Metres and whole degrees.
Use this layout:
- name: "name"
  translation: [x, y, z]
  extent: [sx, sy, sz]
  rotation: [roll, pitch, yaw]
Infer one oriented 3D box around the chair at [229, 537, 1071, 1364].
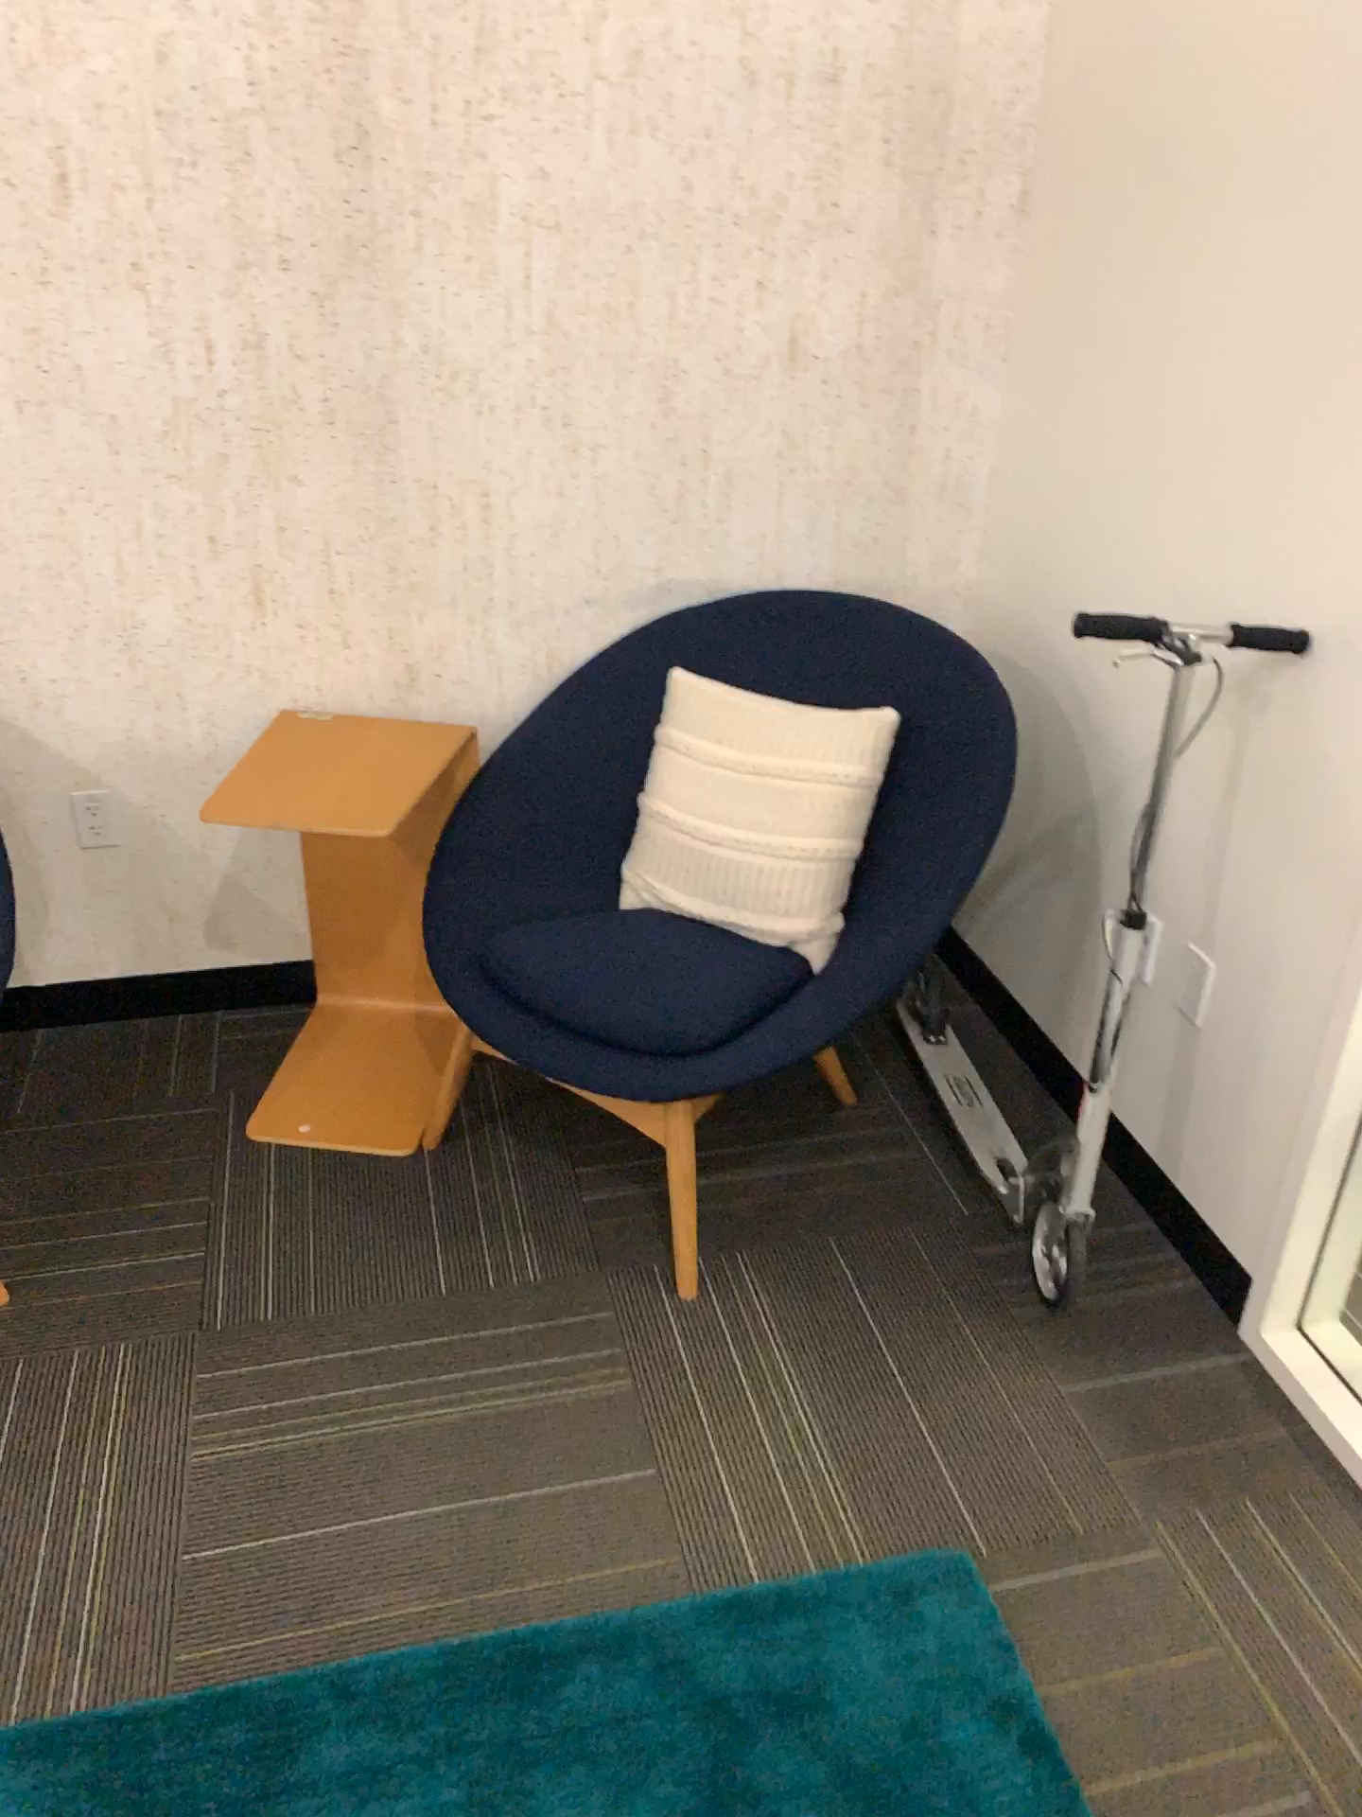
- name: "chair"
  translation: [-0.031, -0.040, 2.237]
  extent: [0.893, 0.816, 0.882]
  rotation: [20, 33, 31]
